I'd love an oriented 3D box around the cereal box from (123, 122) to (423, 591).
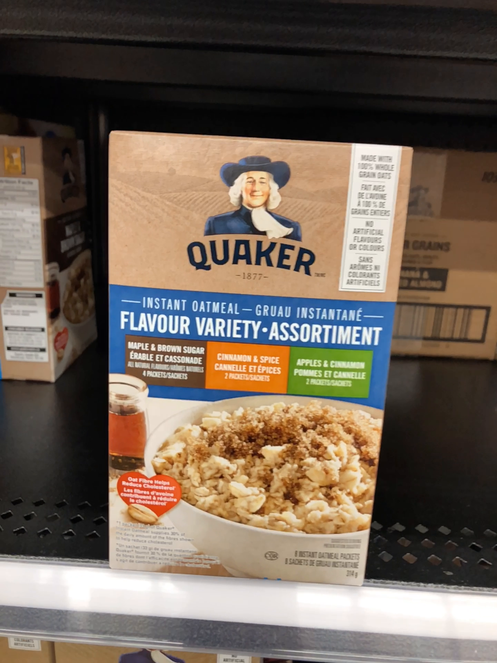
[{"bbox_3d":[0.005,0.014,0.275,0.120,0.209,0.060,3,13,0],"label":"cereal box"}]
